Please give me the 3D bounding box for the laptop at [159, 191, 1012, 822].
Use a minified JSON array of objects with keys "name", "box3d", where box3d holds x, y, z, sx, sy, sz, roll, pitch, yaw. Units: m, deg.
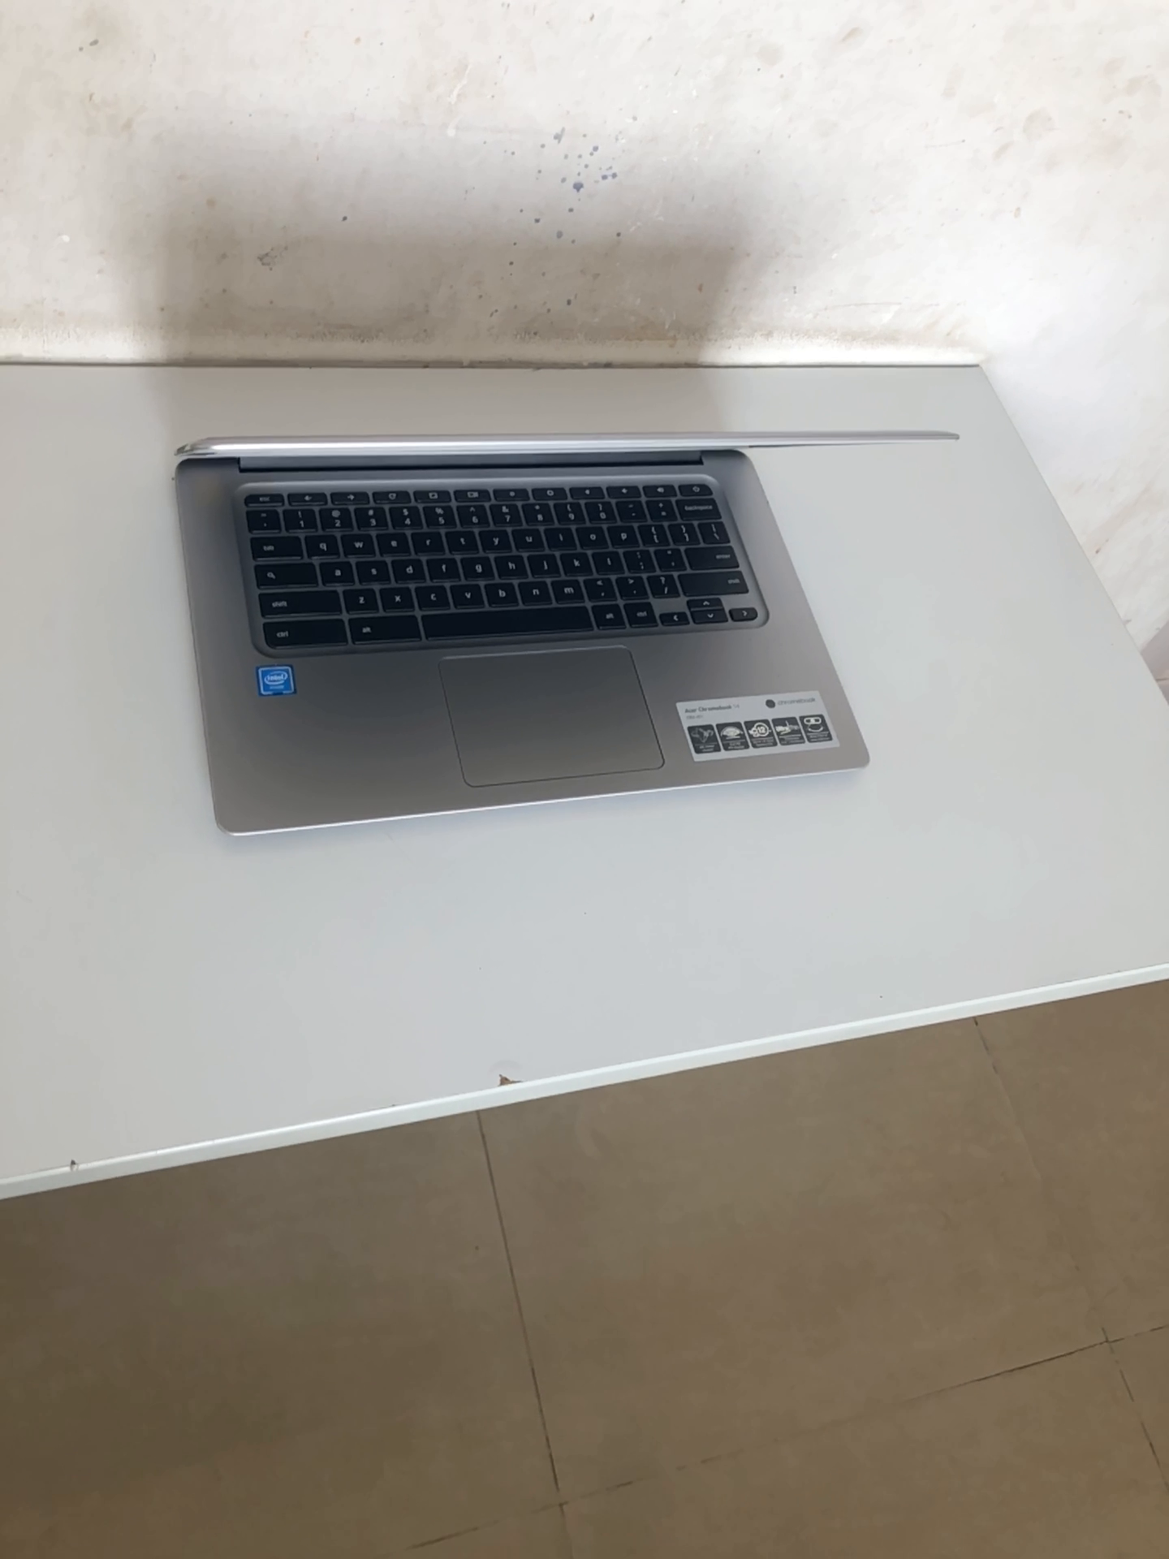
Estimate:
[{"name":"laptop","box3d":[-0.017,-0.131,0.609,0.326,0.155,0.222,-6,60,-18]}]
